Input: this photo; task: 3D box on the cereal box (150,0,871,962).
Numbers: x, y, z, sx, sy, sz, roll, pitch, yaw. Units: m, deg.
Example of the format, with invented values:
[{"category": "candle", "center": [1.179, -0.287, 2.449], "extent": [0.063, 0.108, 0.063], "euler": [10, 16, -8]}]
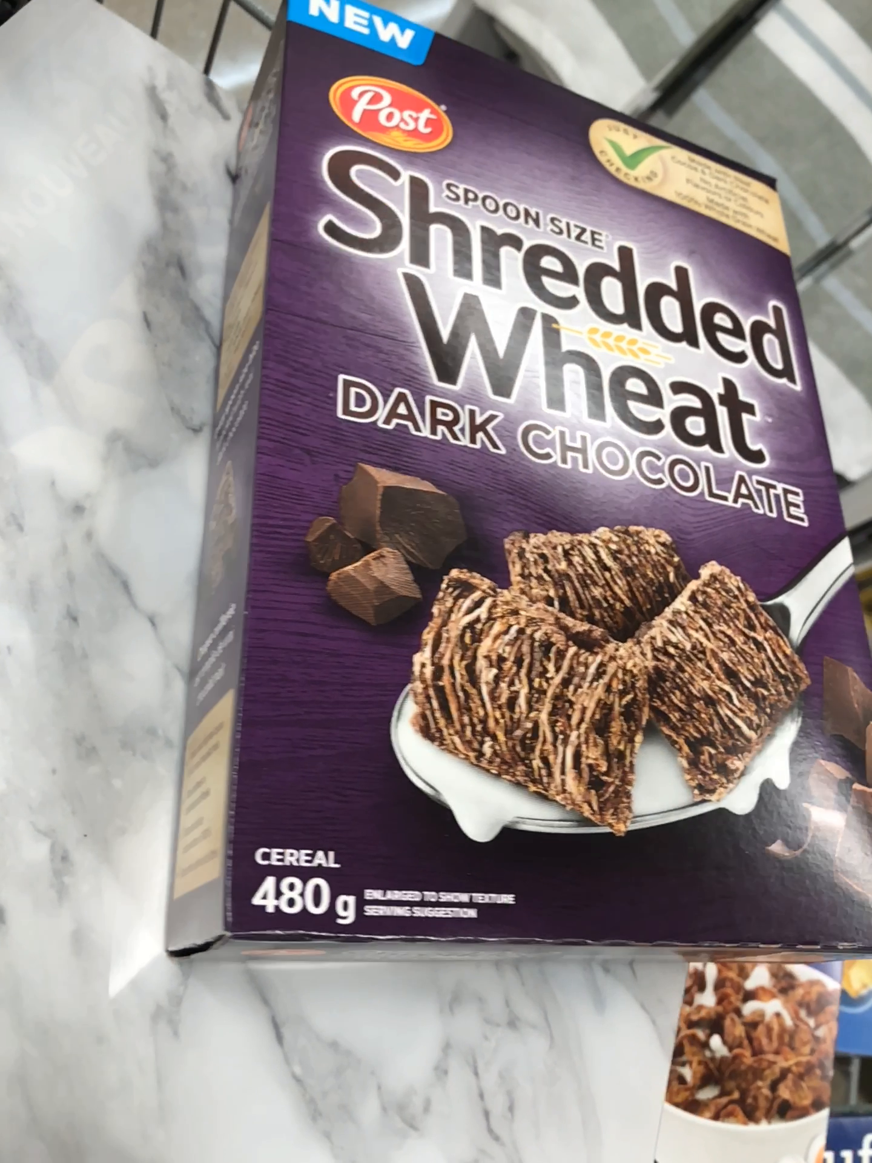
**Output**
[{"category": "cereal box", "center": [0.030, -0.038, 0.306], "extent": [0.191, 0.070, 0.290], "euler": [11, 65, -26]}]
